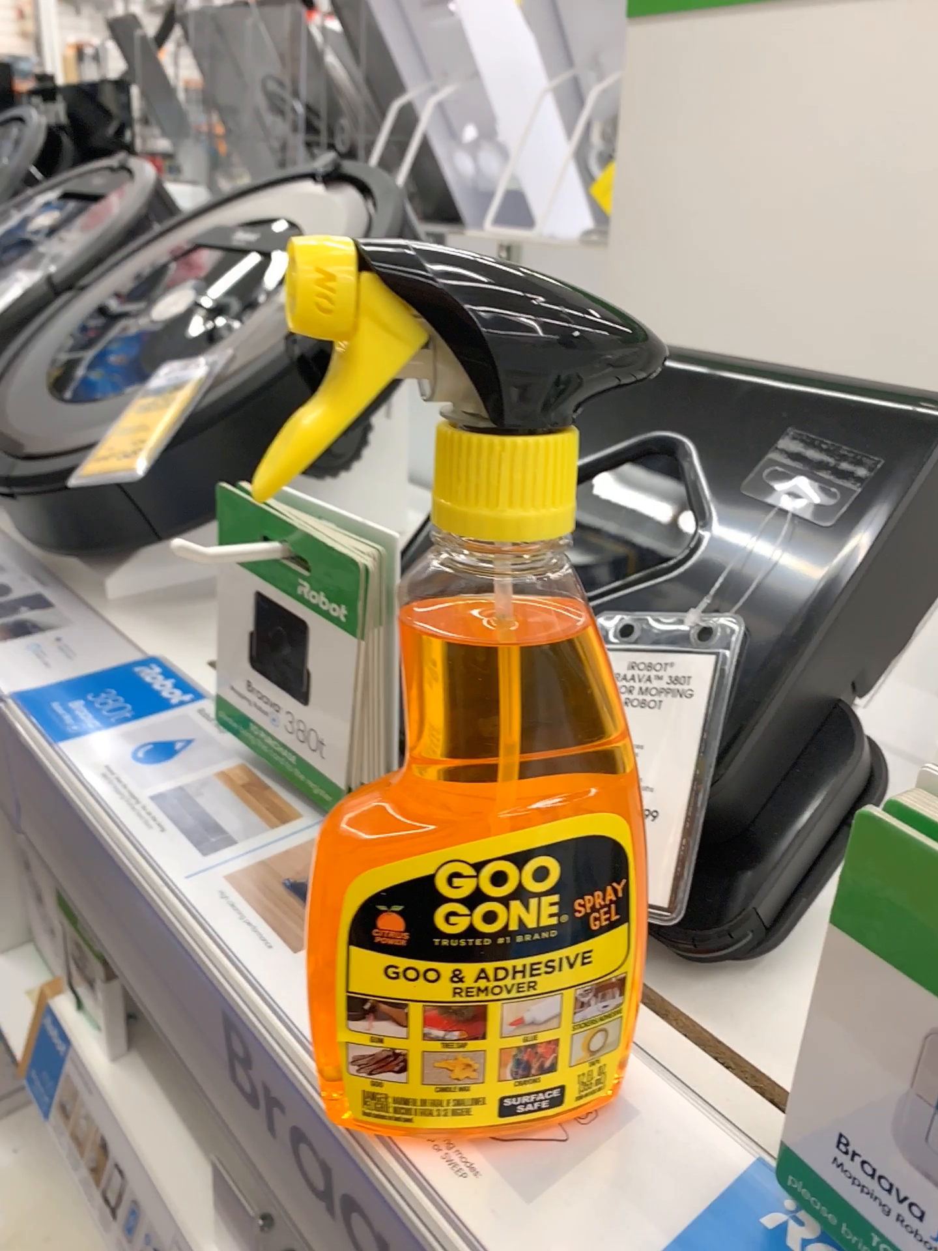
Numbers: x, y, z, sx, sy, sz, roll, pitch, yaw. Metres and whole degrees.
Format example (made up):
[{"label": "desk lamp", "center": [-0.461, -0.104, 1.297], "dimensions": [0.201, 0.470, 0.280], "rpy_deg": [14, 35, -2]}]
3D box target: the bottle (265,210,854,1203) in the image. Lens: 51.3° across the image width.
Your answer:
[{"label": "bottle", "center": [0.008, 0.028, 0.229], "dimensions": [0.100, 0.226, 0.050], "rpy_deg": [-2, 24, -10]}]
